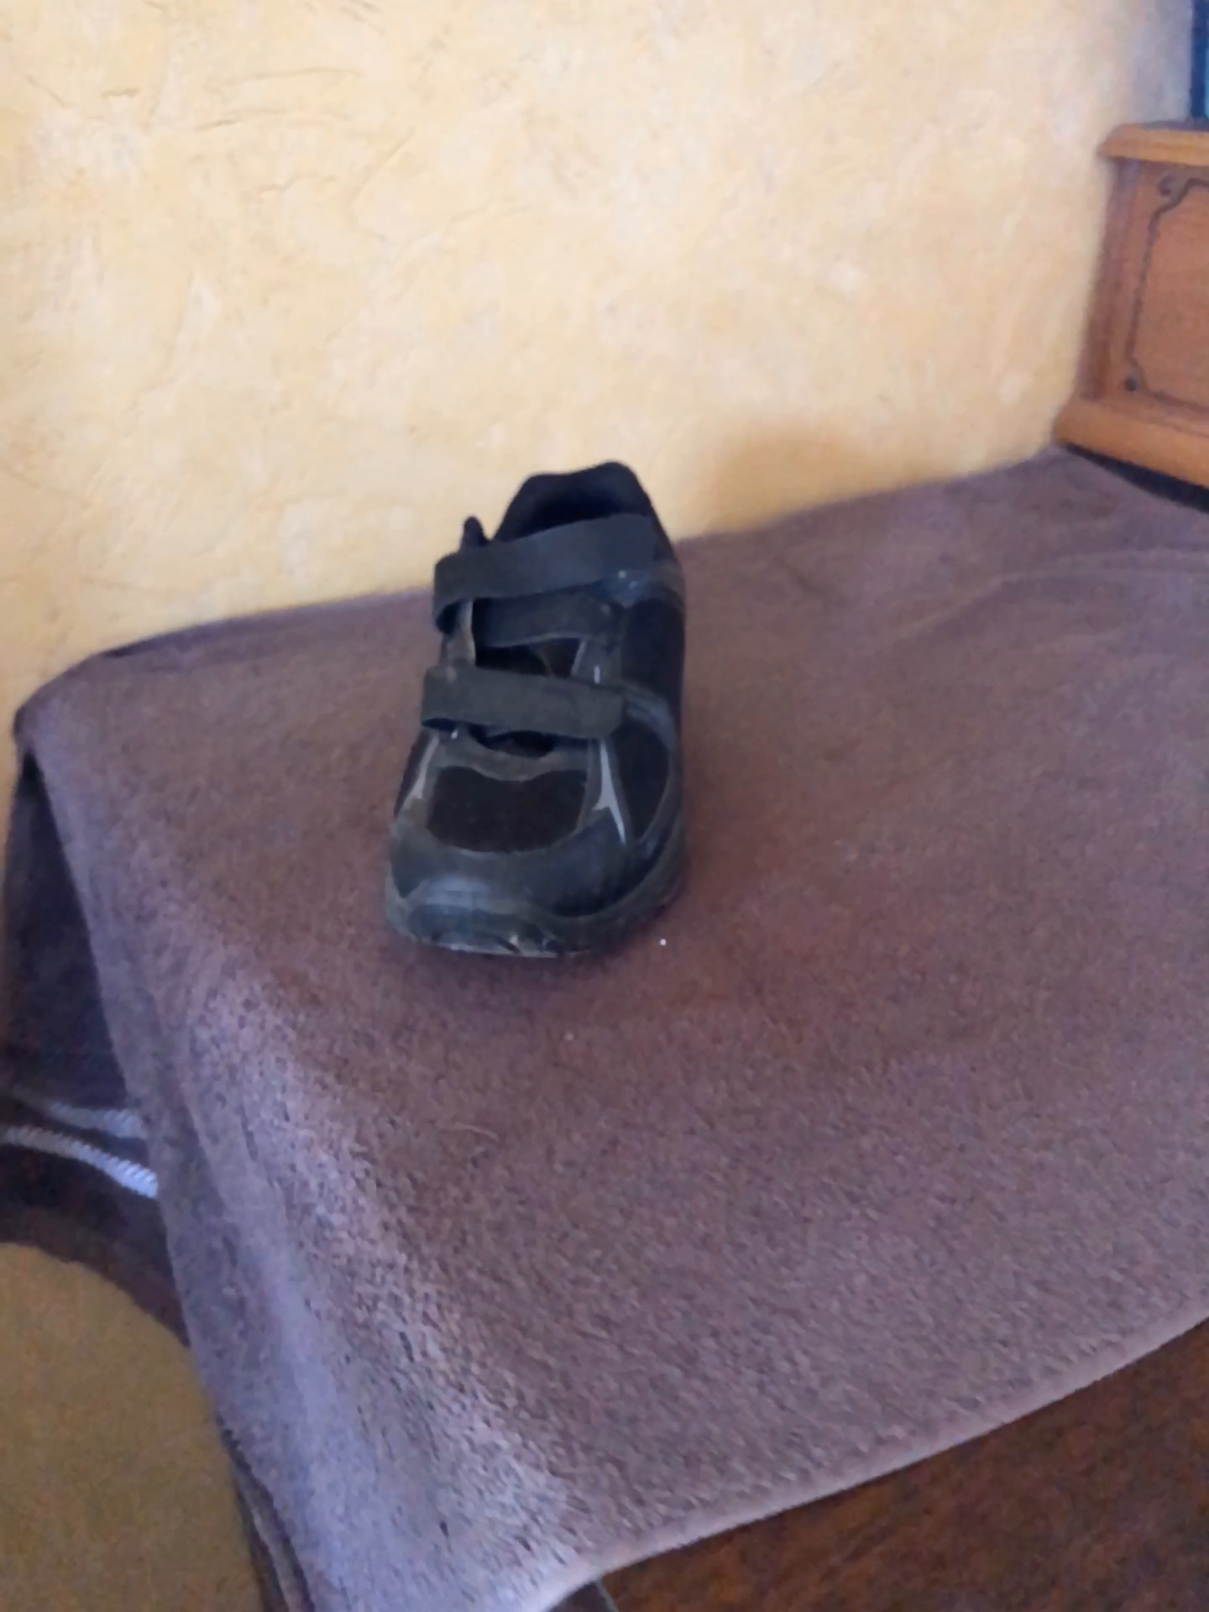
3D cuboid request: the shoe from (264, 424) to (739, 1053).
[{"bbox_3d":[-0.017,-0.047,0.497,0.110,0.109,0.272,4,32,7],"label":"shoe"}]
